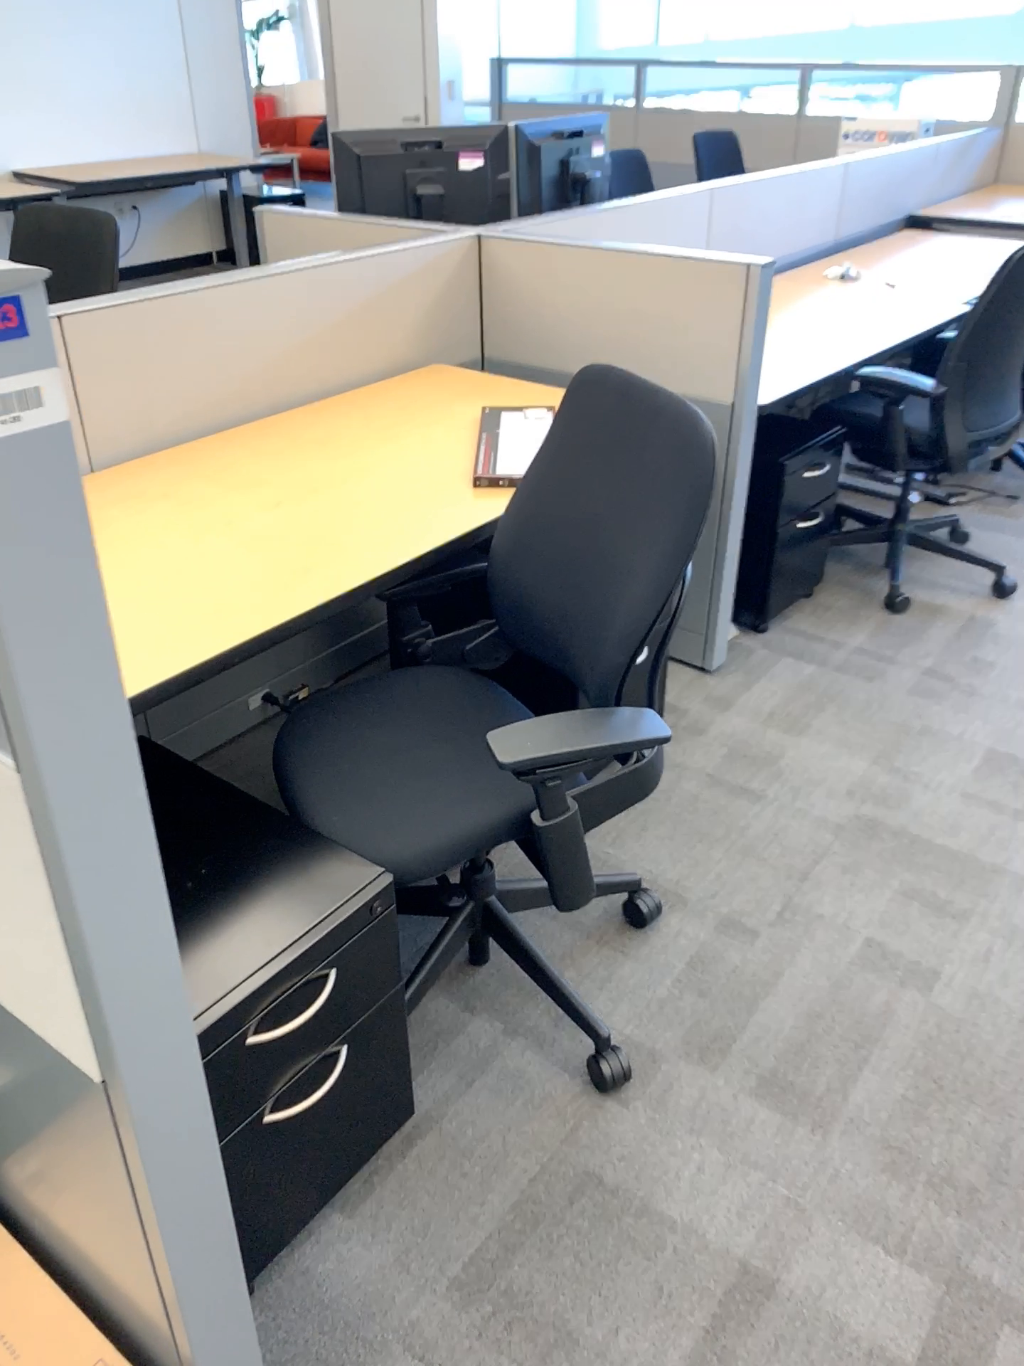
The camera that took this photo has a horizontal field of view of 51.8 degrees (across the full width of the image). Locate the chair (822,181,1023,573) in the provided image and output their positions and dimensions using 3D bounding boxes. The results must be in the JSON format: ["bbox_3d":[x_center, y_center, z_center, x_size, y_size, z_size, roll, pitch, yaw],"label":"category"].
[{"bbox_3d":[1.798,-1.172,3.950,0.751,1.183,0.764,-16,34,-24],"label":"chair"}]

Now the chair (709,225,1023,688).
[{"bbox_3d":[1.230,-0.771,3.428,0.752,1.183,0.763,-26,39,-36],"label":"chair"}]

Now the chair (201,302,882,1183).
[{"bbox_3d":[-0.013,0.039,1.736,0.680,1.084,0.754,-13,33,-21],"label":"chair"}]

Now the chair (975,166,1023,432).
[{"bbox_3d":[3.312,-2.177,5.936,0.751,1.233,0.764,-16,34,-24],"label":"chair"}]
